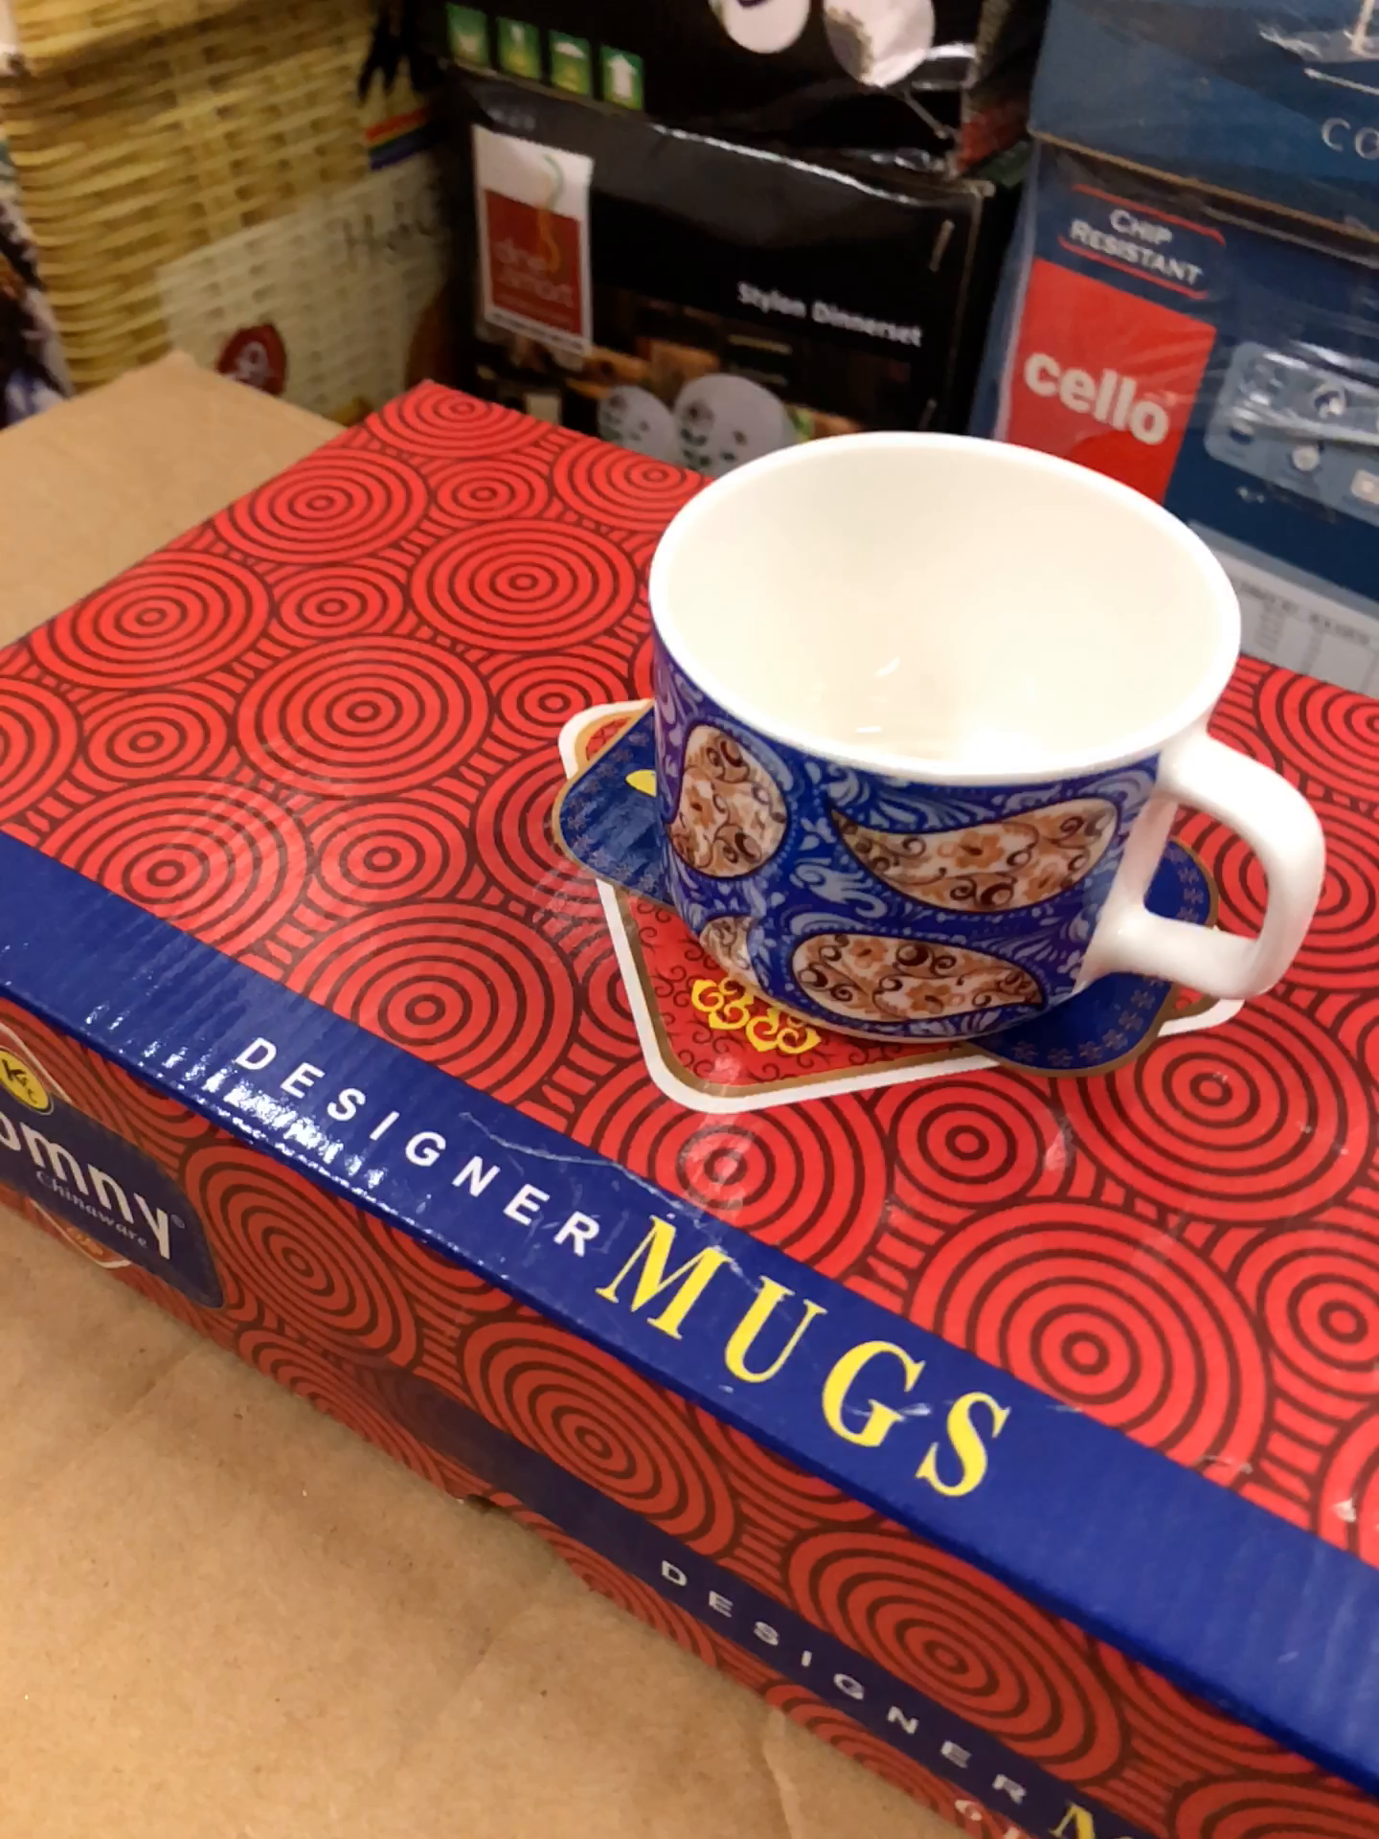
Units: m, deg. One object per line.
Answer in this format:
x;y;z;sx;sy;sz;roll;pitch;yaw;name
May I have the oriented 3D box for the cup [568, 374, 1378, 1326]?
0.045;-0.015;0.203;0.100;0.060;0.070;32;52;25;cup
